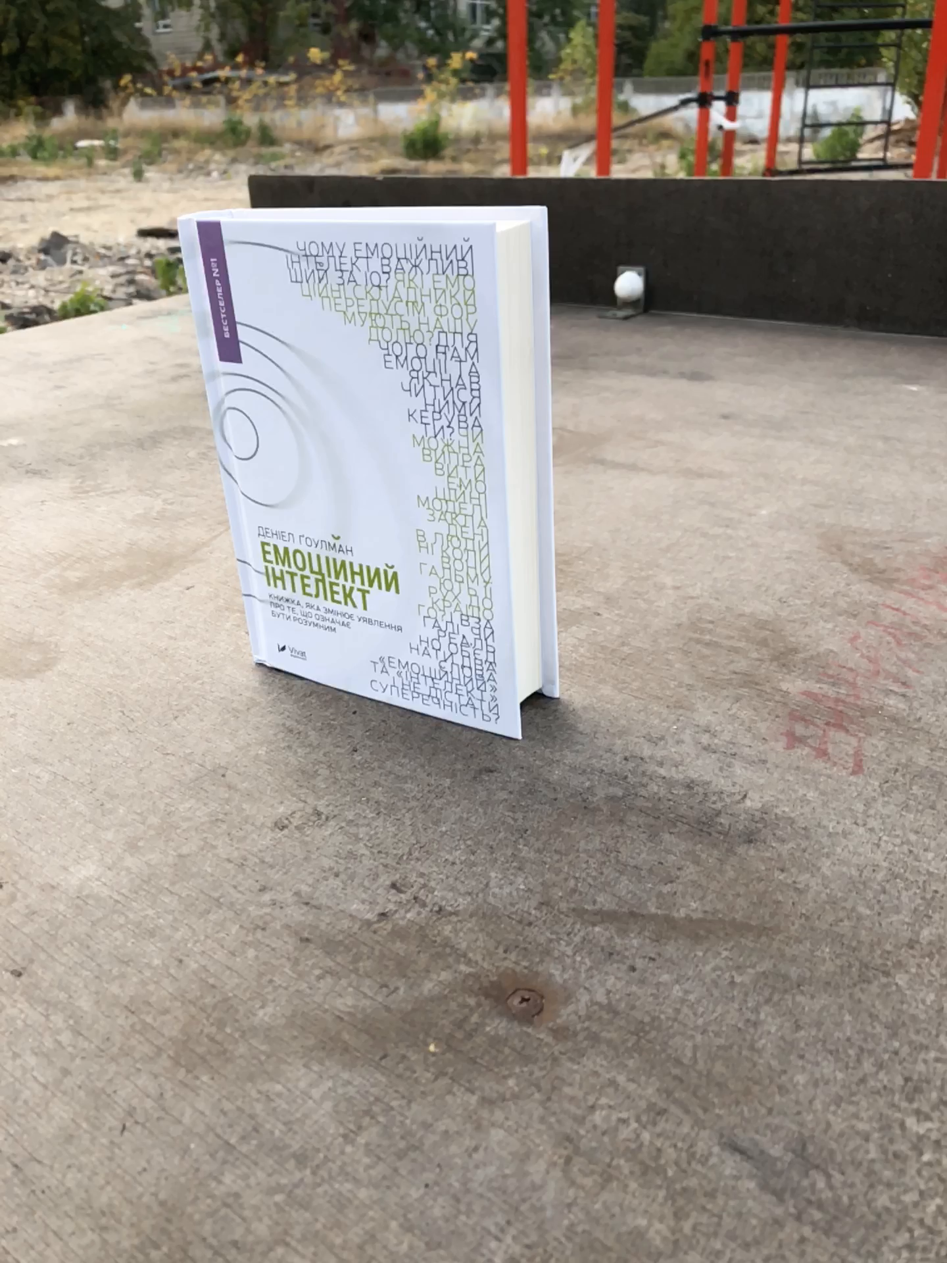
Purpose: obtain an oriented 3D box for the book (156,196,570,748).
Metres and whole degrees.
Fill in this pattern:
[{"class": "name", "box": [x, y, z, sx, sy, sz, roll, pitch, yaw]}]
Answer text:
[{"class": "book", "box": [-0.042, -0.071, 0.447, 0.160, 0.209, 0.050, 13, 31, 28]}]
